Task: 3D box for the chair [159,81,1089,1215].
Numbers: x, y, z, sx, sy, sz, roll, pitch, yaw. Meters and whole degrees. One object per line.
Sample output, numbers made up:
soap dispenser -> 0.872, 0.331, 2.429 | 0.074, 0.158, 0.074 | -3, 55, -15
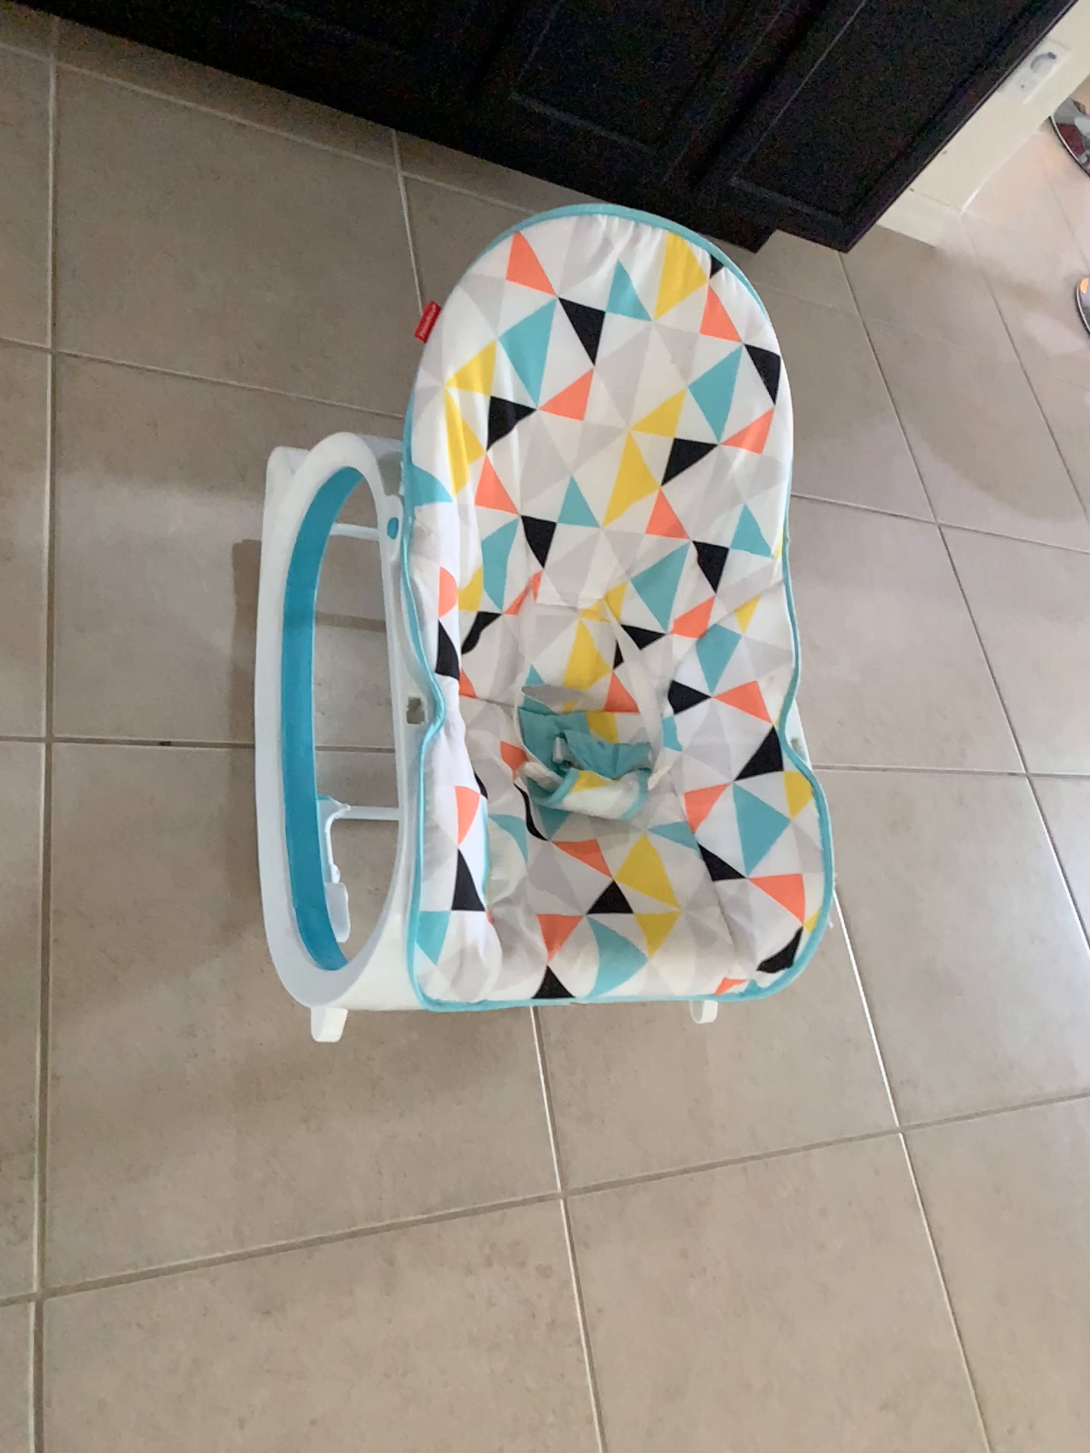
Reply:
chair -> -0.005, -0.024, 0.986 | 0.532, 0.486, 0.733 | 2, 65, -29
